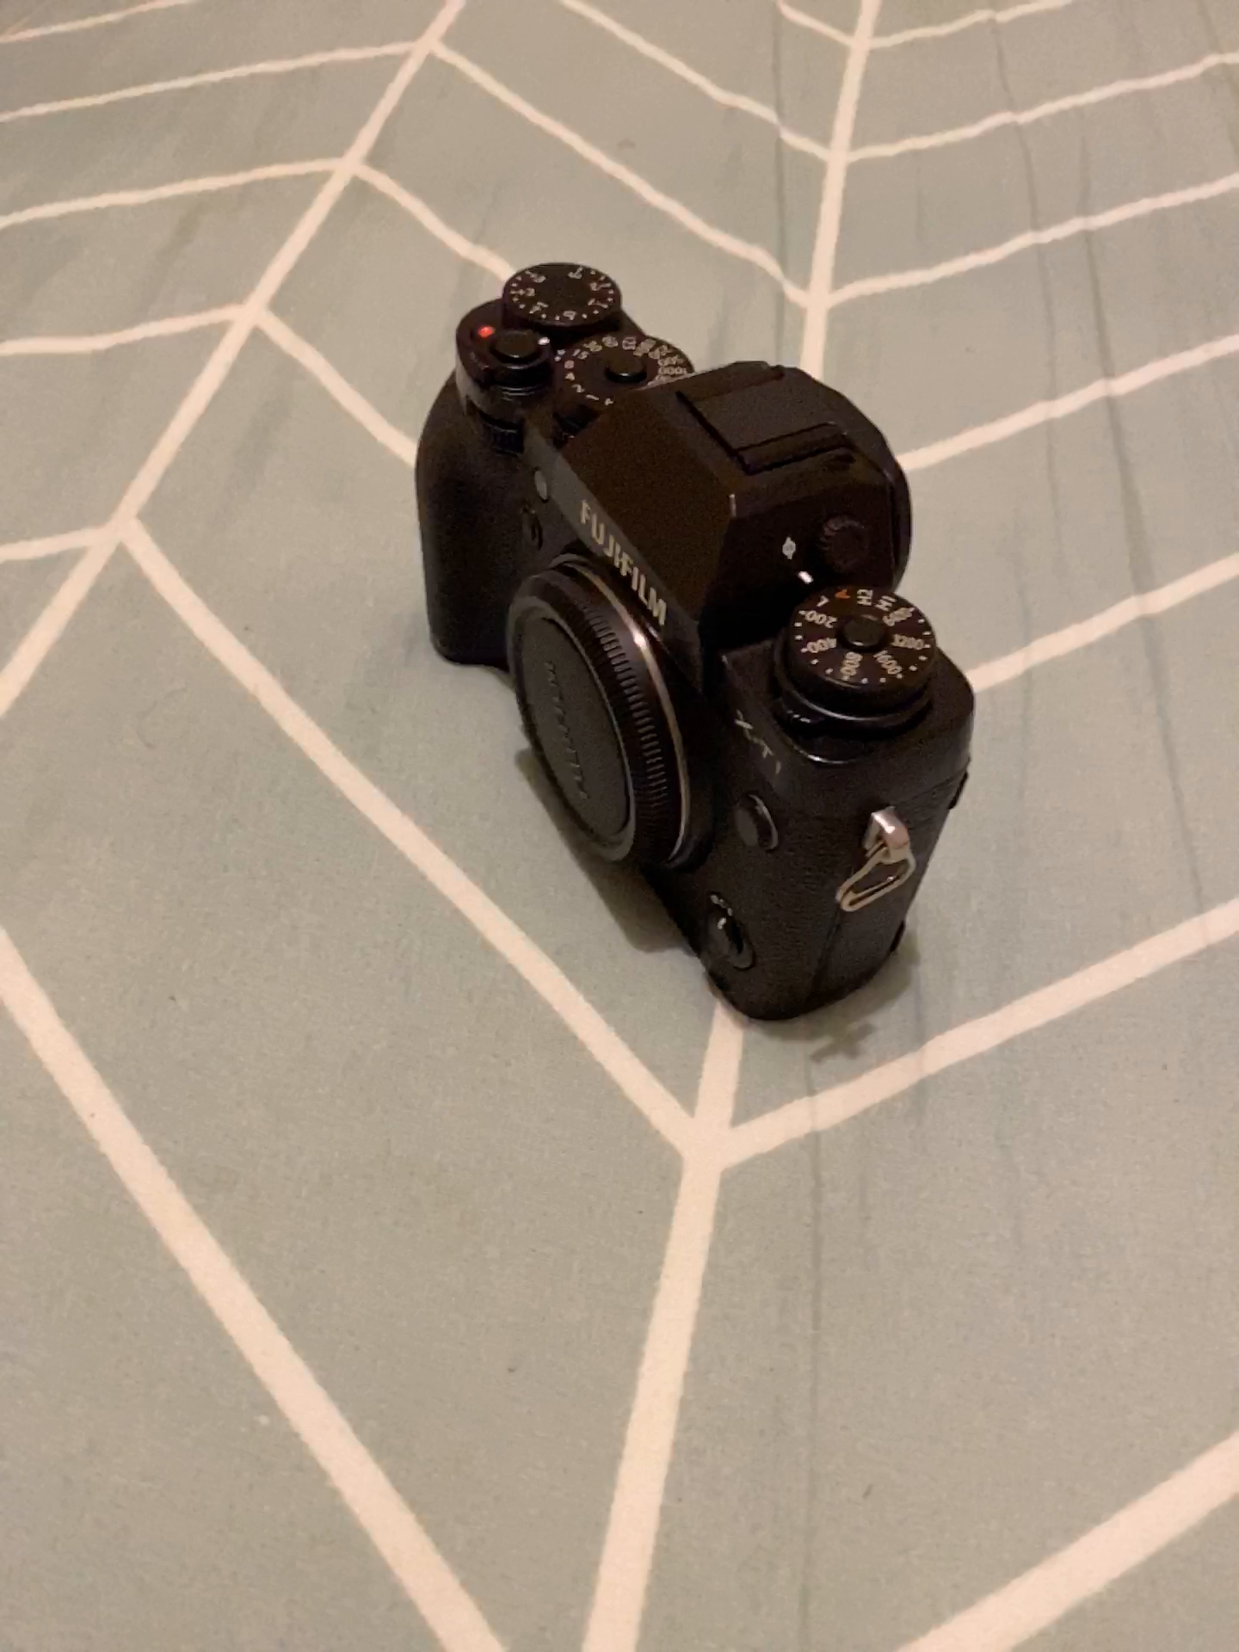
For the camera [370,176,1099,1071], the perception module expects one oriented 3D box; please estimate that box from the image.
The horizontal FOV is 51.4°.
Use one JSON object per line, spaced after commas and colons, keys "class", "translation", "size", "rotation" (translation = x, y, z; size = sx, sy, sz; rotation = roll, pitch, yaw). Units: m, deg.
{"class": "camera", "translation": [0.008, -0.039, 0.231], "size": [0.052, 0.087, 0.130], "rotation": [-22, 56, -19]}
